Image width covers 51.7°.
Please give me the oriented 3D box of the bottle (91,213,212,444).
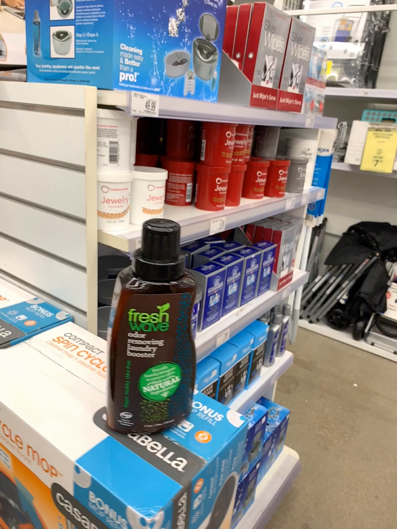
[{"bbox_3d":[-0.054,0.061,0.403,0.100,0.209,0.070,0,20,-15],"label":"bottle"}]
